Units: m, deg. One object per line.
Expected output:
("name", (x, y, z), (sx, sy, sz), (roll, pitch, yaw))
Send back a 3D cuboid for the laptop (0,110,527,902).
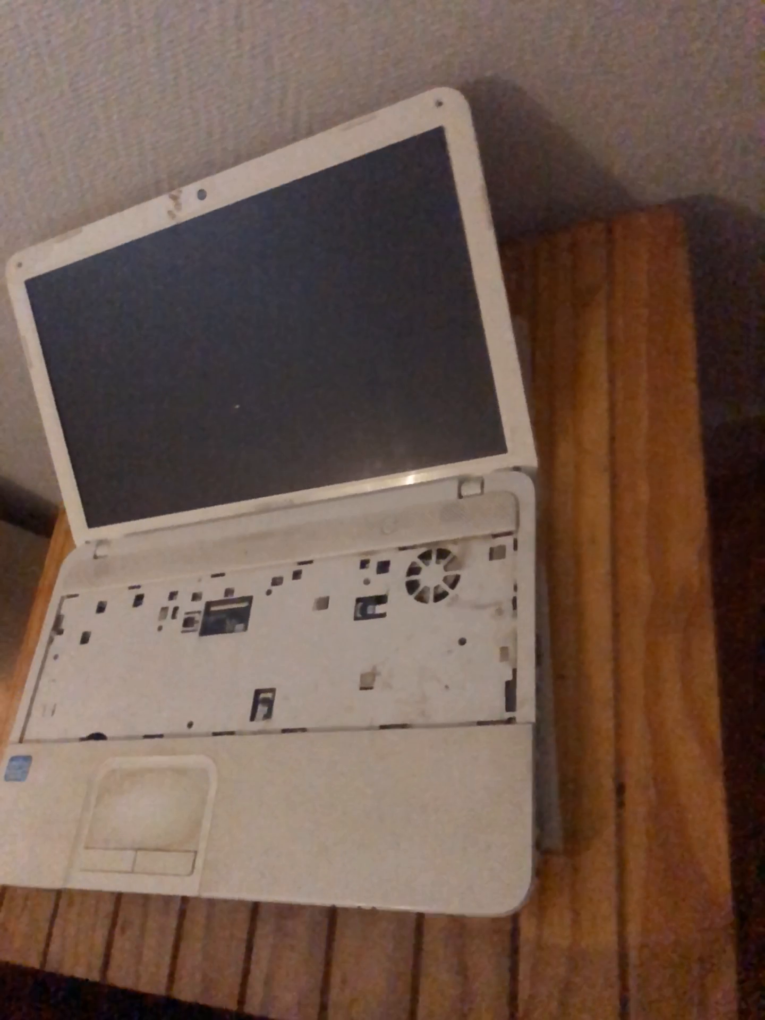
("laptop", (-0.108, 0.000, 0.522), (0.372, 0.118, 0.419), (-10, 57, 26))
